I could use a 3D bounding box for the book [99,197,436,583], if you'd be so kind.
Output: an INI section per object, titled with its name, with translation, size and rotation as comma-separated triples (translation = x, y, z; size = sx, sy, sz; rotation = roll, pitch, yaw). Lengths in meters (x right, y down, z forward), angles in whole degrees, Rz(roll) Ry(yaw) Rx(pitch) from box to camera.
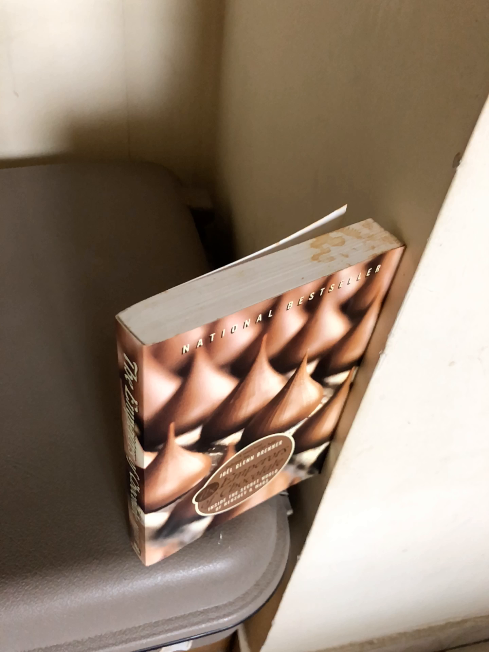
[book]
translation = 0.009, 0.043, 0.309
size = 0.160, 0.199, 0.040
rotation = -23, 51, -29
